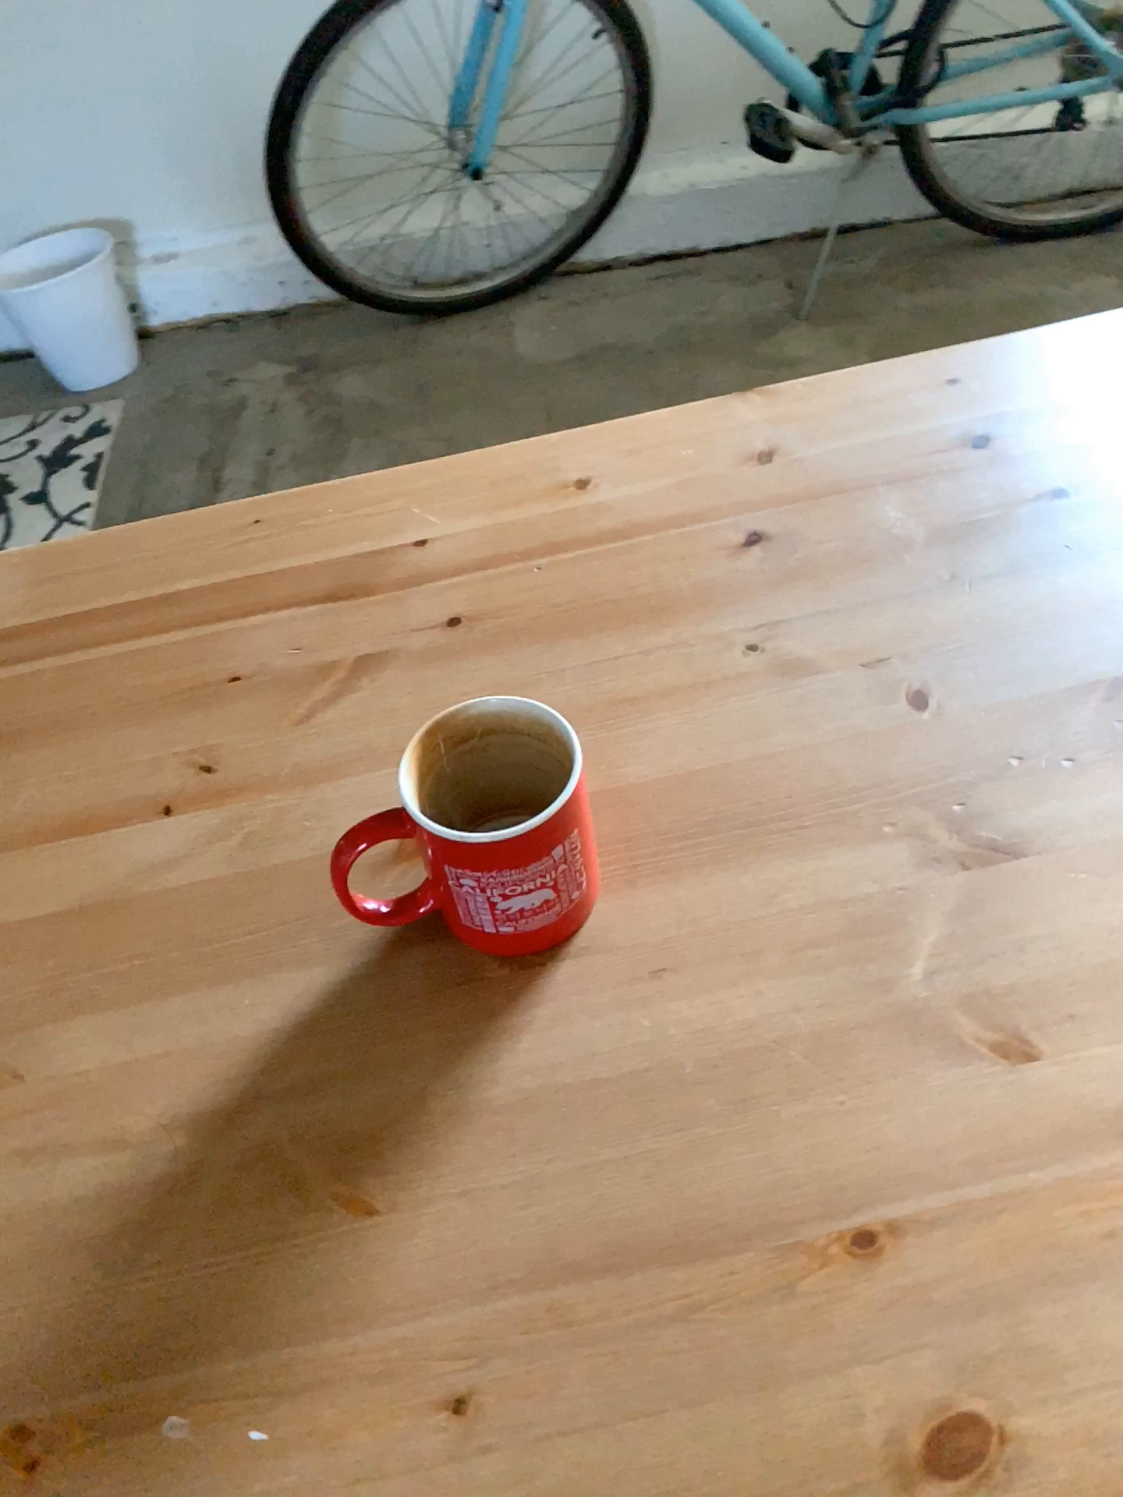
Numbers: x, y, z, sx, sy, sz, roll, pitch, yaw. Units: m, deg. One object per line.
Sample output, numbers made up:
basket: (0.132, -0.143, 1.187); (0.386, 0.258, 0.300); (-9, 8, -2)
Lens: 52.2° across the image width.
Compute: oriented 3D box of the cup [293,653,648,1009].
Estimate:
cup: (-0.039, 0.038, 0.517); (0.130, 0.100, 0.090); (-14, 50, -2)
